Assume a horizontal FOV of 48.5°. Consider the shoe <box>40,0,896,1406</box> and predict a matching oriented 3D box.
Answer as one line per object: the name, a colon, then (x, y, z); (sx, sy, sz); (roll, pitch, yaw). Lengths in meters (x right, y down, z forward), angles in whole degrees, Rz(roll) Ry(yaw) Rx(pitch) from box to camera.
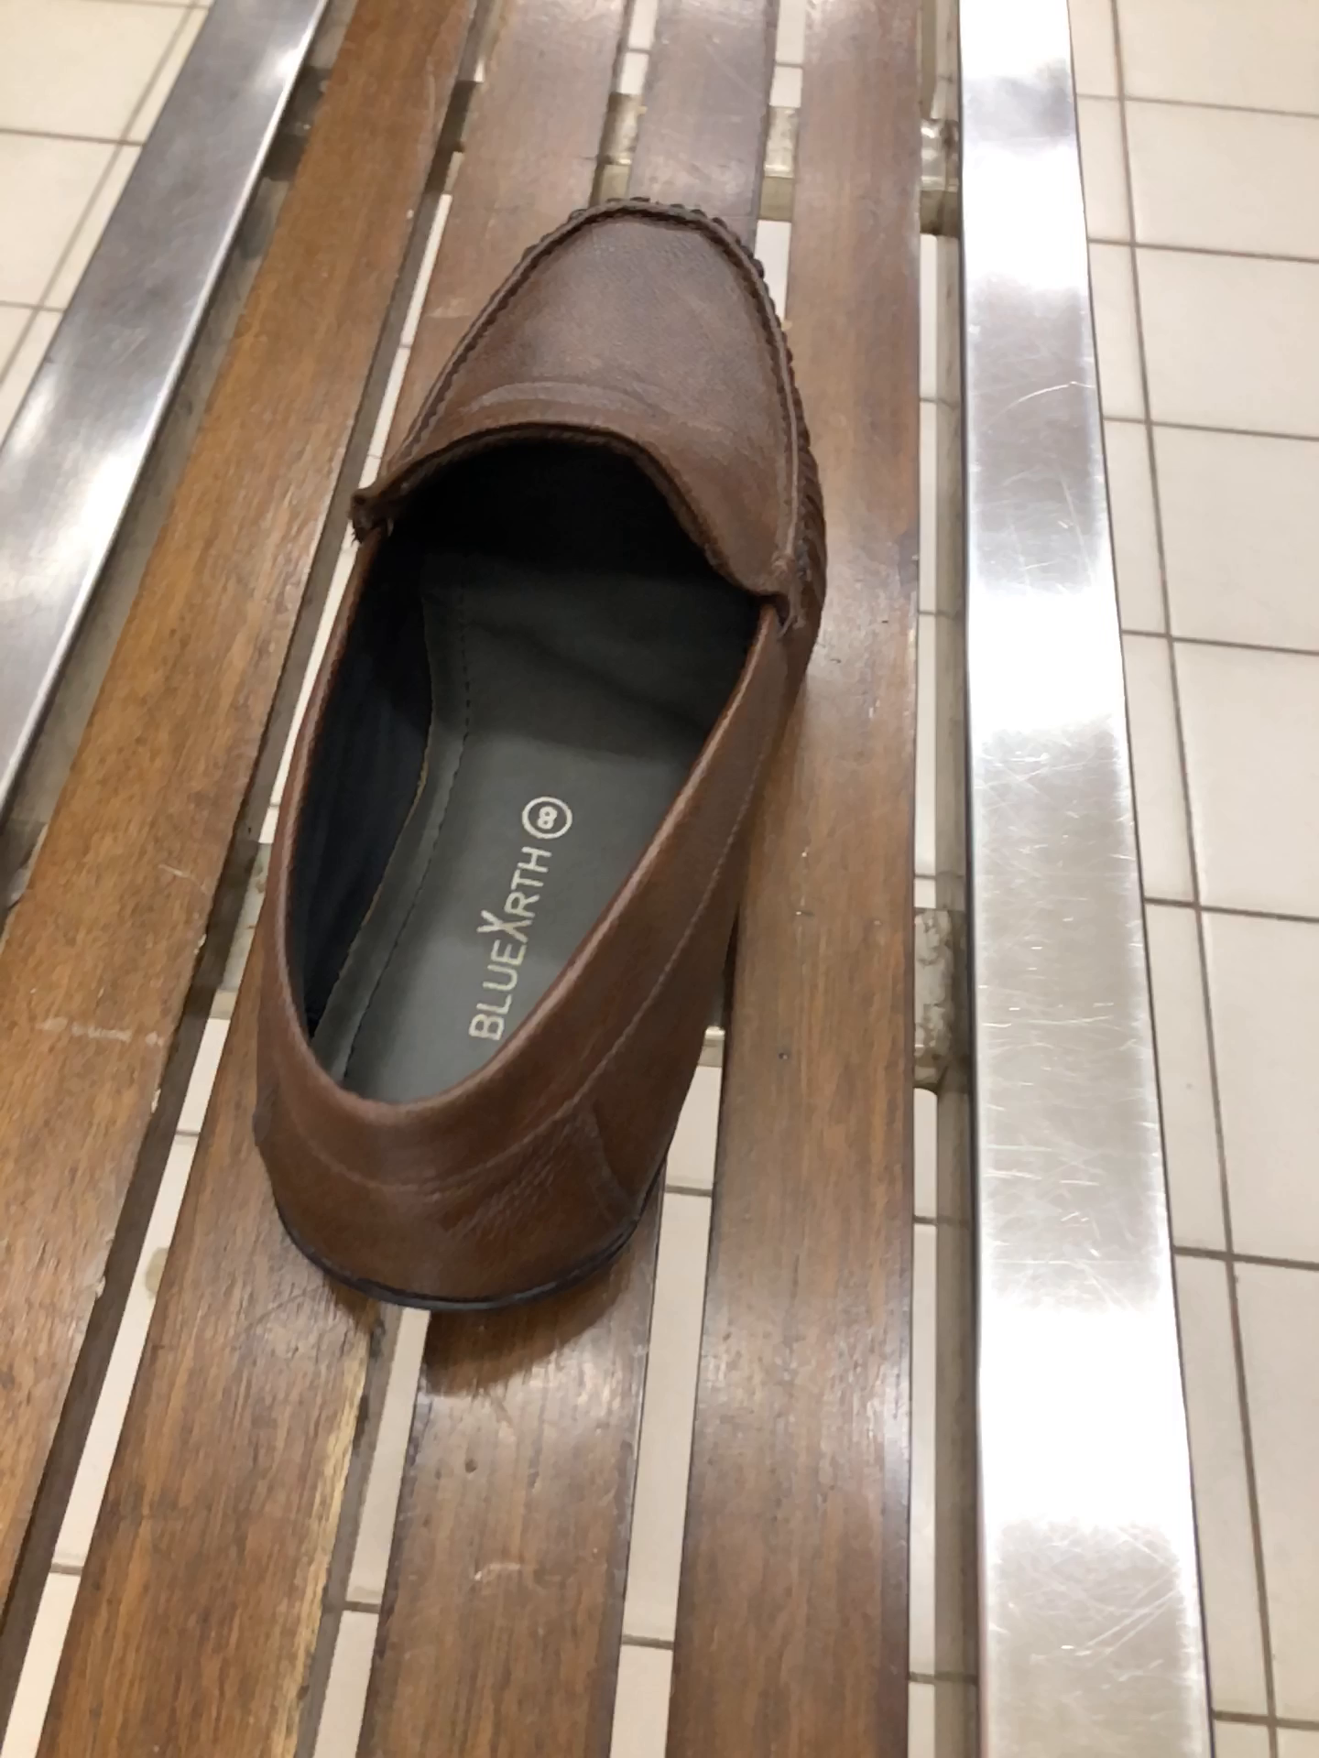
shoe: (-0.015, -0.058, 0.318); (0.104, 0.093, 0.302); (7, 59, 3)
